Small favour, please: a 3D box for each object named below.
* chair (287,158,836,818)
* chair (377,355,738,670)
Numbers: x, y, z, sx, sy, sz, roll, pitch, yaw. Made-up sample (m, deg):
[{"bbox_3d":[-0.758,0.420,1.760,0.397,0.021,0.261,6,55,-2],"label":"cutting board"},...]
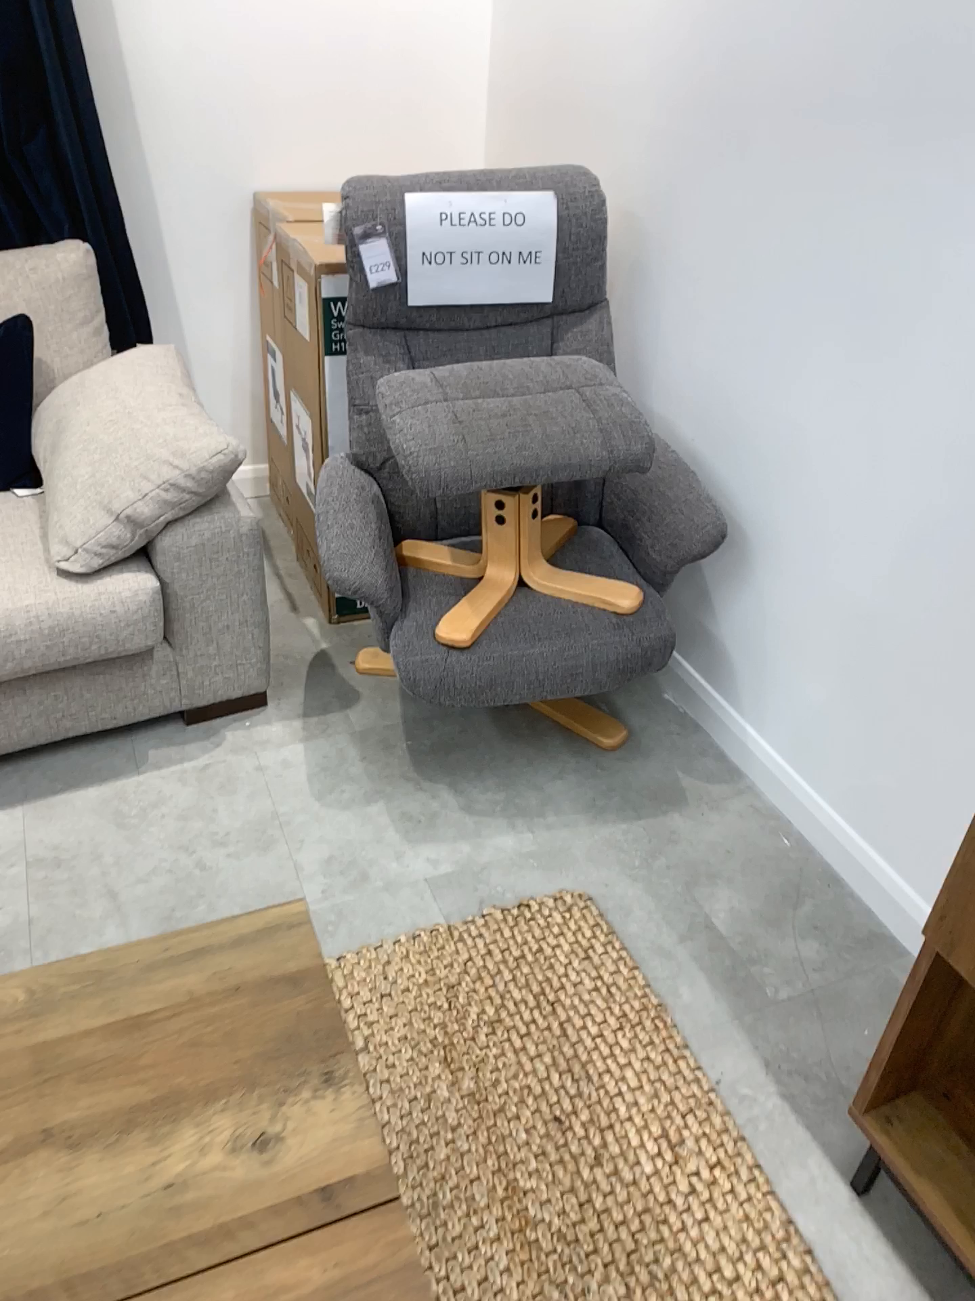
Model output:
[{"bbox_3d":[0.043,-0.345,1.916,0.702,0.975,0.726,-7,35,-16],"label":"chair"},{"bbox_3d":[0.085,-0.273,1.789,0.482,0.351,0.484,-6,35,-15],"label":"chair"}]
